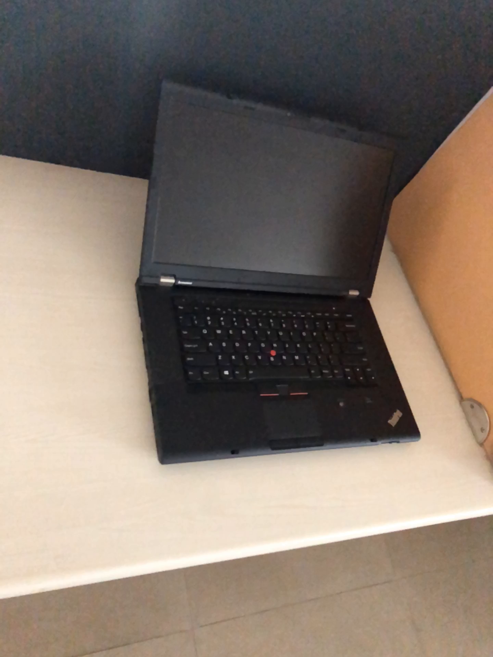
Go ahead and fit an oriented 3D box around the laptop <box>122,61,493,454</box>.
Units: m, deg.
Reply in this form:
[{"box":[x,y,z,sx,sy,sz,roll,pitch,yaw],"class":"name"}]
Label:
[{"box":[0.065,-0.075,0.675,0.355,0.185,0.380,2,60,-28],"class":"laptop"}]
